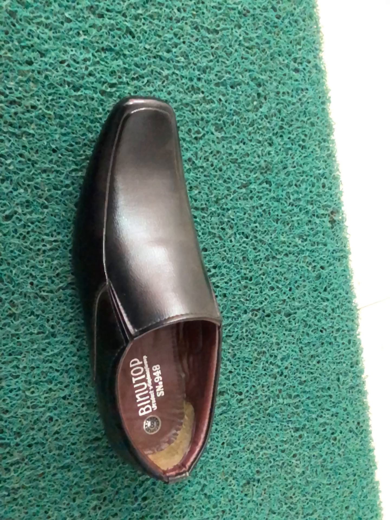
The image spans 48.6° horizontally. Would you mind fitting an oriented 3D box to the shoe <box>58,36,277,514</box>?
[{"bbox_3d":[-0.026,0.007,0.324,0.110,0.129,0.270,-5,95,-26],"label":"shoe"}]
